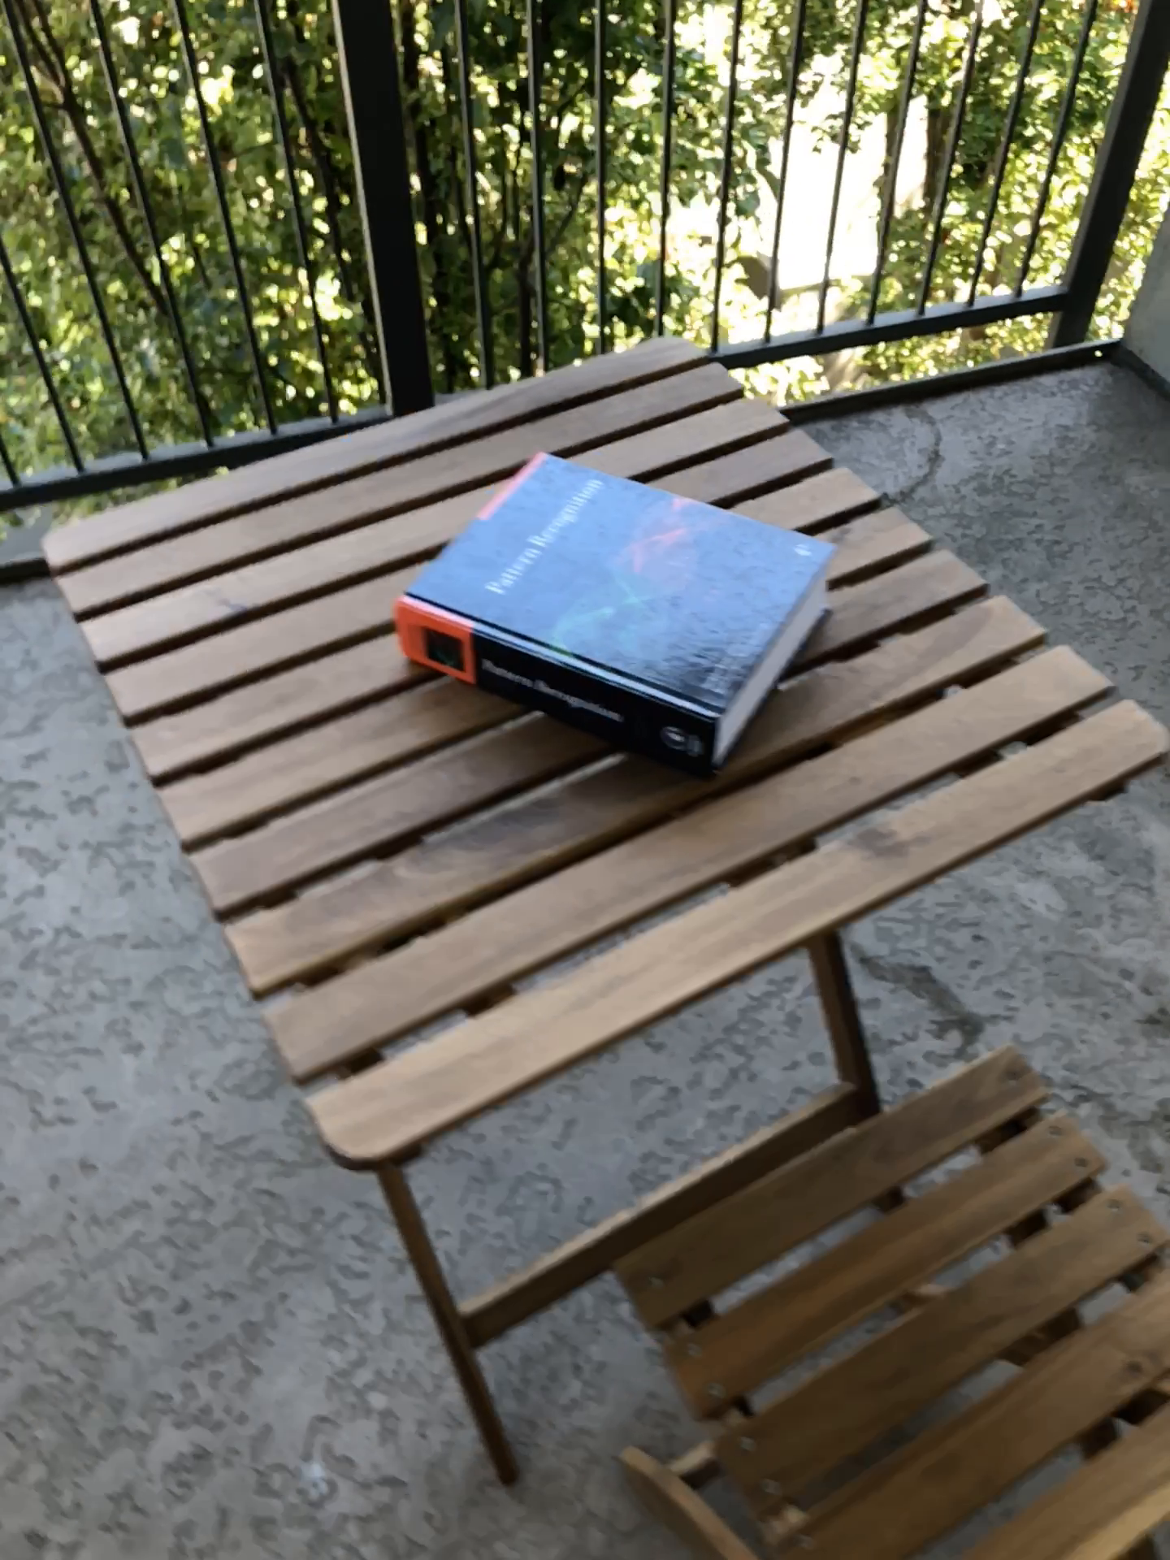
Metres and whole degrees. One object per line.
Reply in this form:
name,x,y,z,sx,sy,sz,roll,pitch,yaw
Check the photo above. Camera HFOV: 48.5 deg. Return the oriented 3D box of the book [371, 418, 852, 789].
book,0.022,-0.132,0.892,0.250,0.070,0.211,23,52,20
